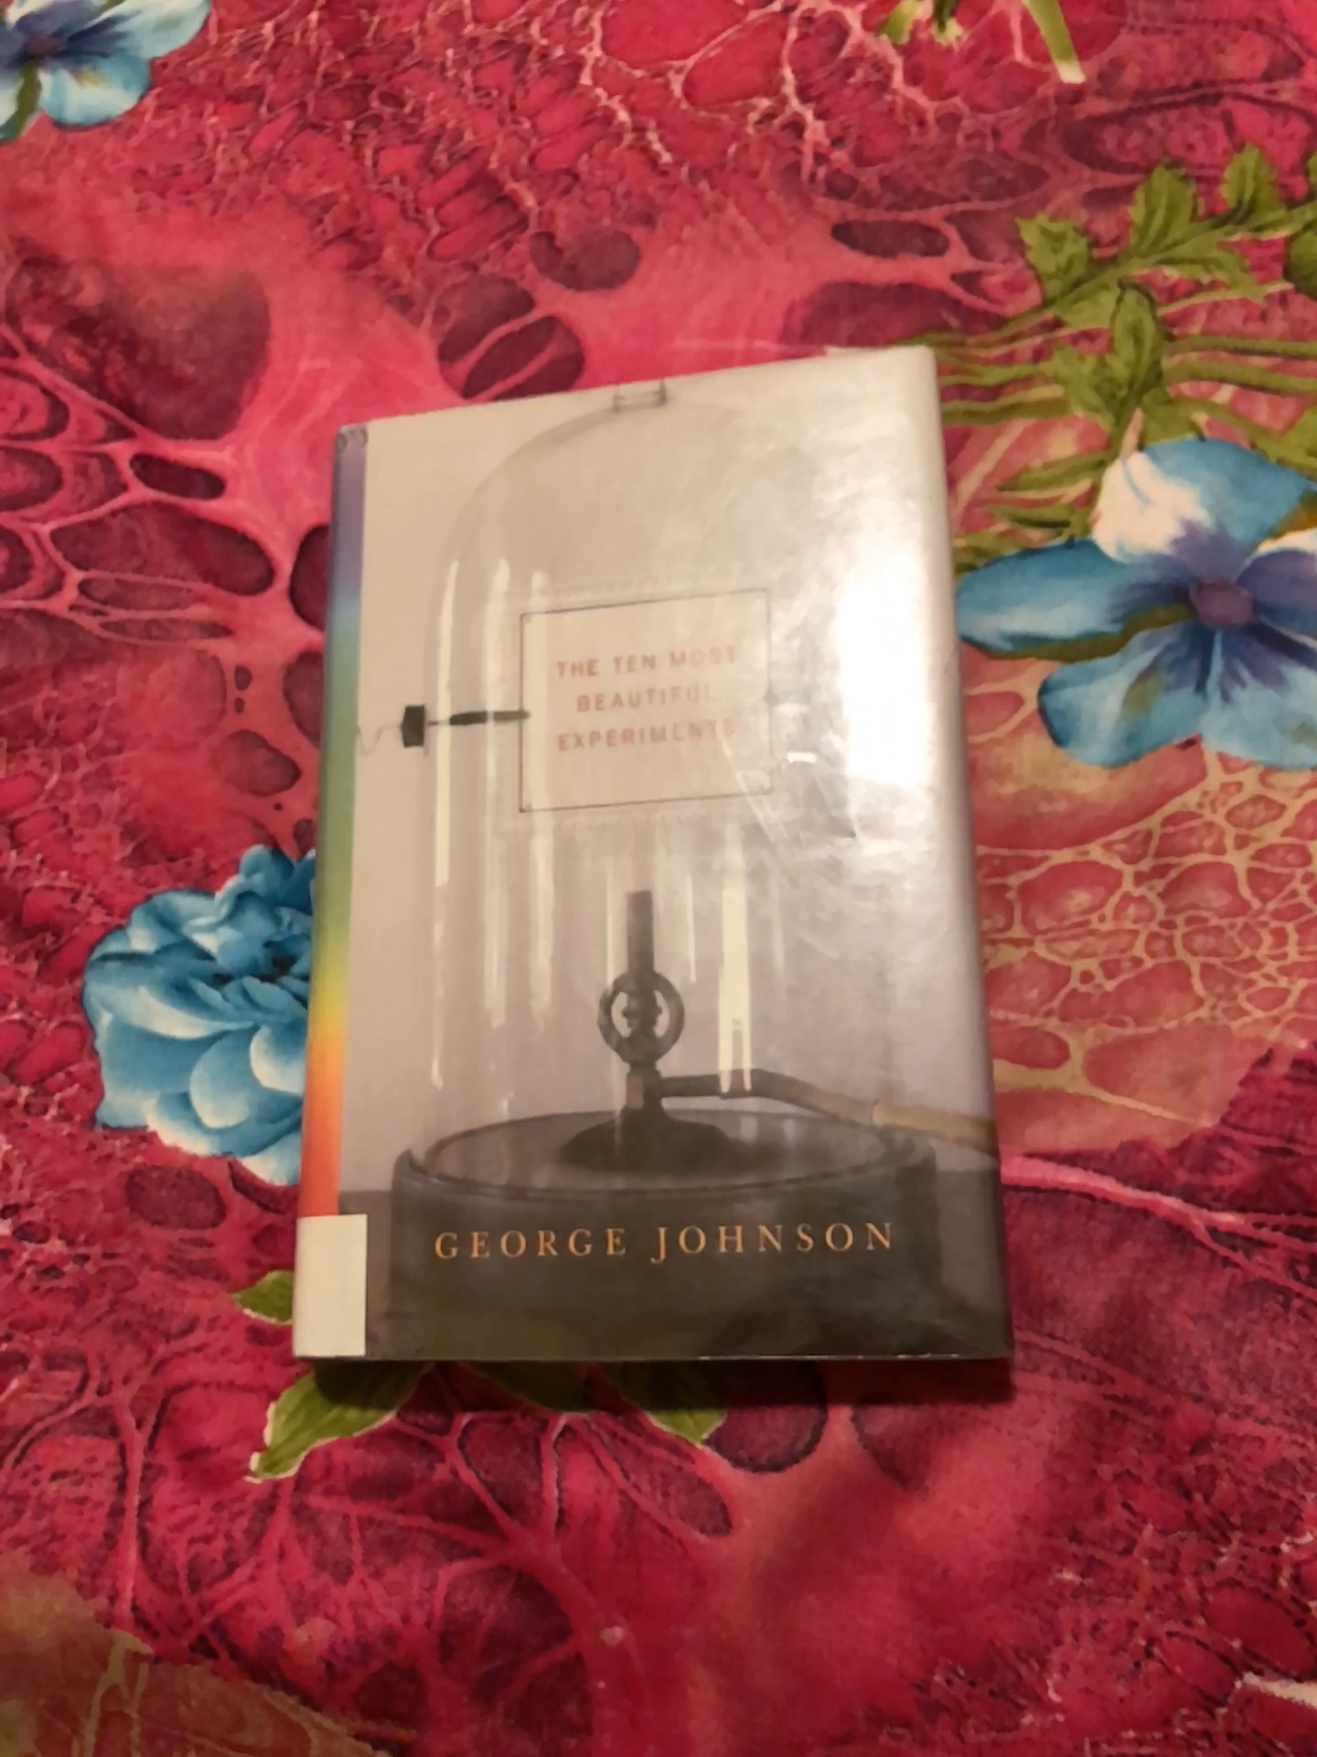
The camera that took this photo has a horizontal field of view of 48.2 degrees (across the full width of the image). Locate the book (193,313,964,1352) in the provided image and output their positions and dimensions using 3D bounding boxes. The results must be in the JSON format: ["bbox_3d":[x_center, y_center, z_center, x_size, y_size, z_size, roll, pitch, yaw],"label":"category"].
[{"bbox_3d":[-0.017,-0.010,0.302,0.140,0.030,0.200,-5,73,11],"label":"book"}]
